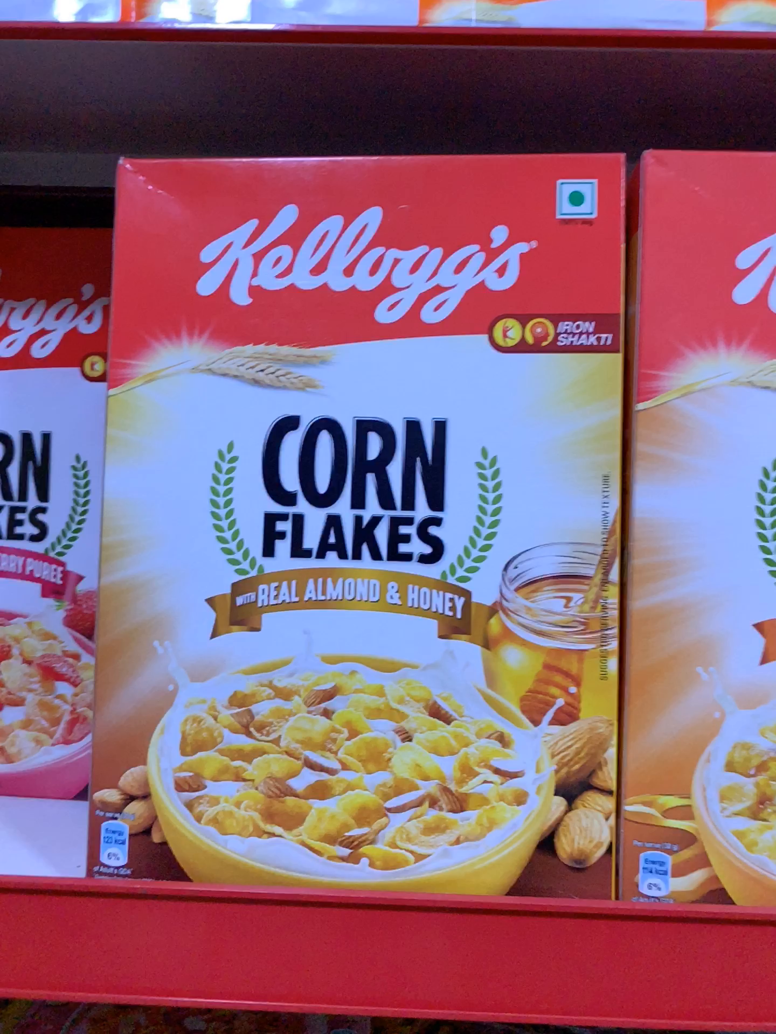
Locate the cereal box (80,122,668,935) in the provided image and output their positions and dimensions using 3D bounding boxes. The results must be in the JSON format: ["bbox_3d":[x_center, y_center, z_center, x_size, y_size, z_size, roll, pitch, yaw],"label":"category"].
[{"bbox_3d":[-0.004,0.001,0.266,0.170,0.230,0.060,1,0,6],"label":"cereal box"}]
